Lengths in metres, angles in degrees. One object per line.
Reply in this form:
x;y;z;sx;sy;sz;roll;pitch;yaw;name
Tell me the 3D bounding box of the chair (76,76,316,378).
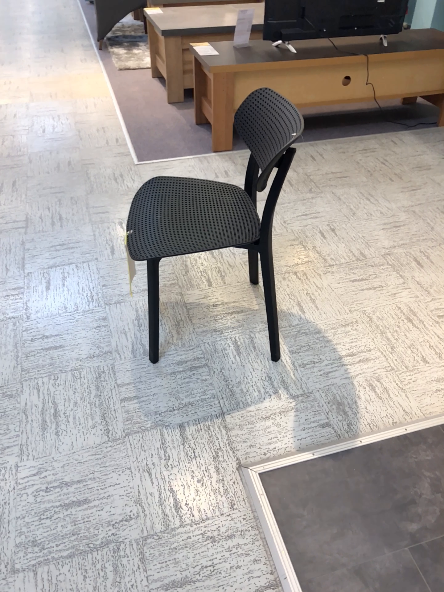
-0.082;-0.215;1.471;0.520;0.686;0.543;-6;39;-6;chair
